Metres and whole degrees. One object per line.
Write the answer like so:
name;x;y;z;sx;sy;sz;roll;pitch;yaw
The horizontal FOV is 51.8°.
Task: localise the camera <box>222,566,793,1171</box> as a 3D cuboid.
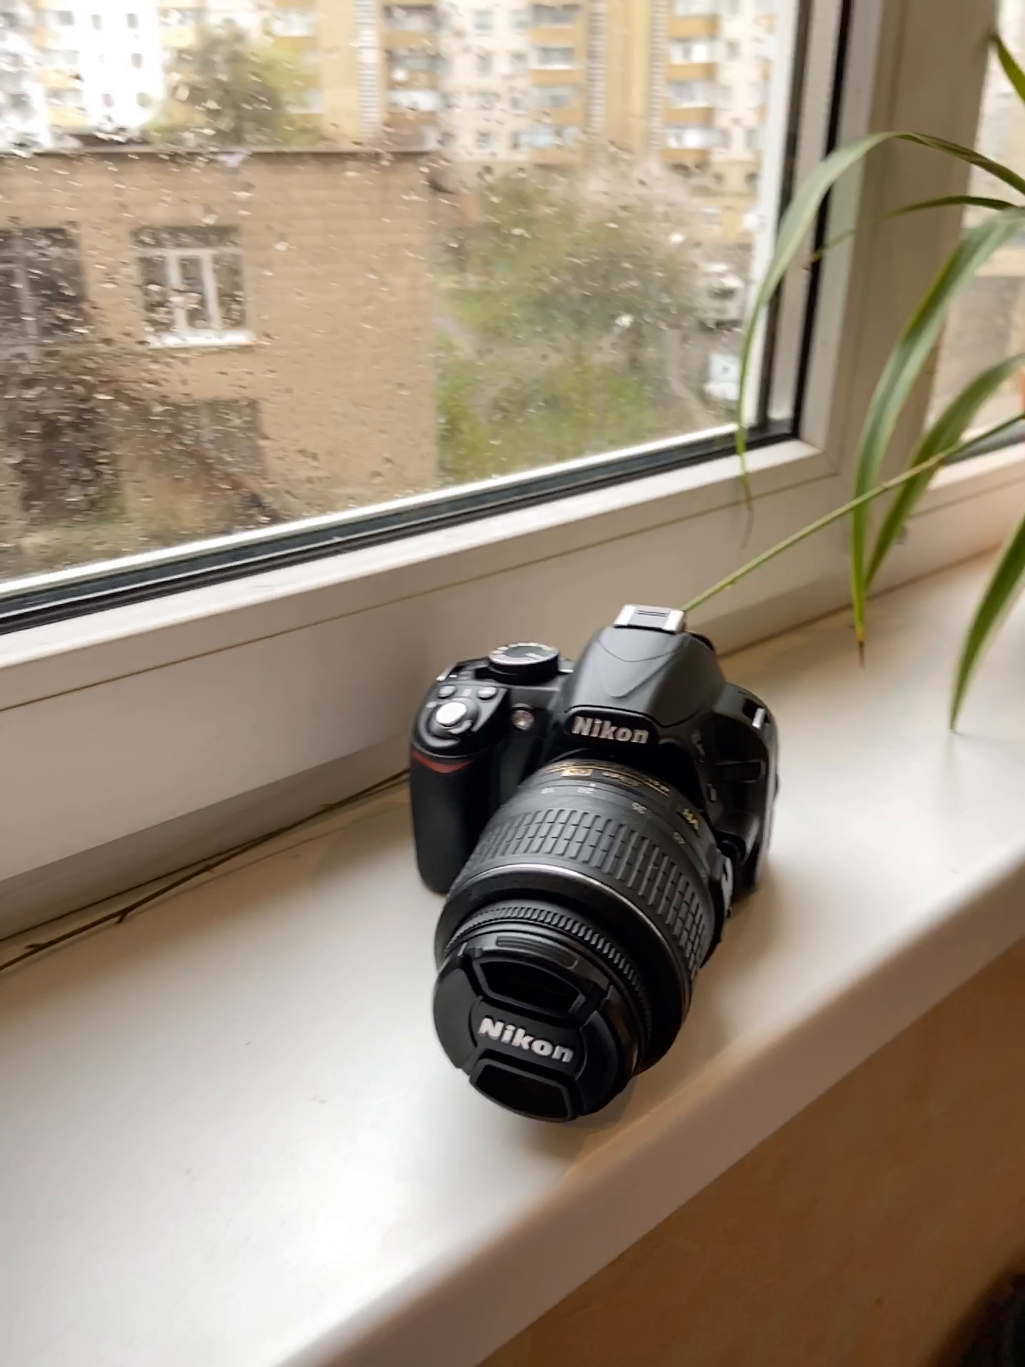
camera;0.012;0.039;0.326;0.124;0.091;0.155;8;28;16
